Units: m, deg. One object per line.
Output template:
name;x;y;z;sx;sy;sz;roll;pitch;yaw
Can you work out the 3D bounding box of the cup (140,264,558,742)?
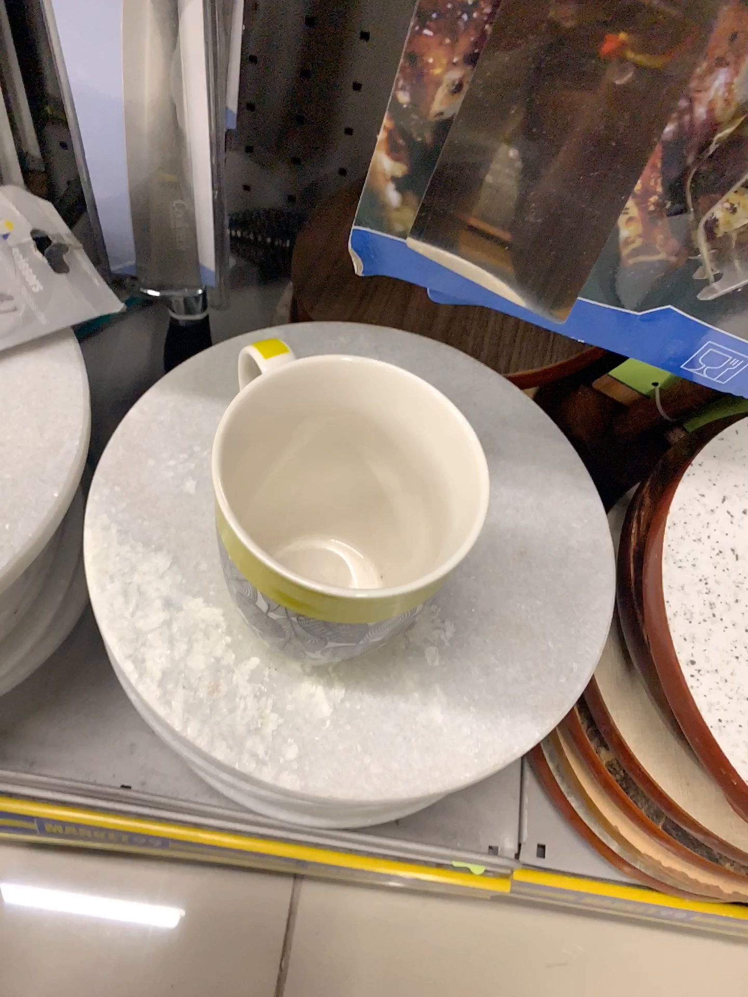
cup;-0.017;0.003;0.253;0.080;0.090;0.110;-18;67;-19
